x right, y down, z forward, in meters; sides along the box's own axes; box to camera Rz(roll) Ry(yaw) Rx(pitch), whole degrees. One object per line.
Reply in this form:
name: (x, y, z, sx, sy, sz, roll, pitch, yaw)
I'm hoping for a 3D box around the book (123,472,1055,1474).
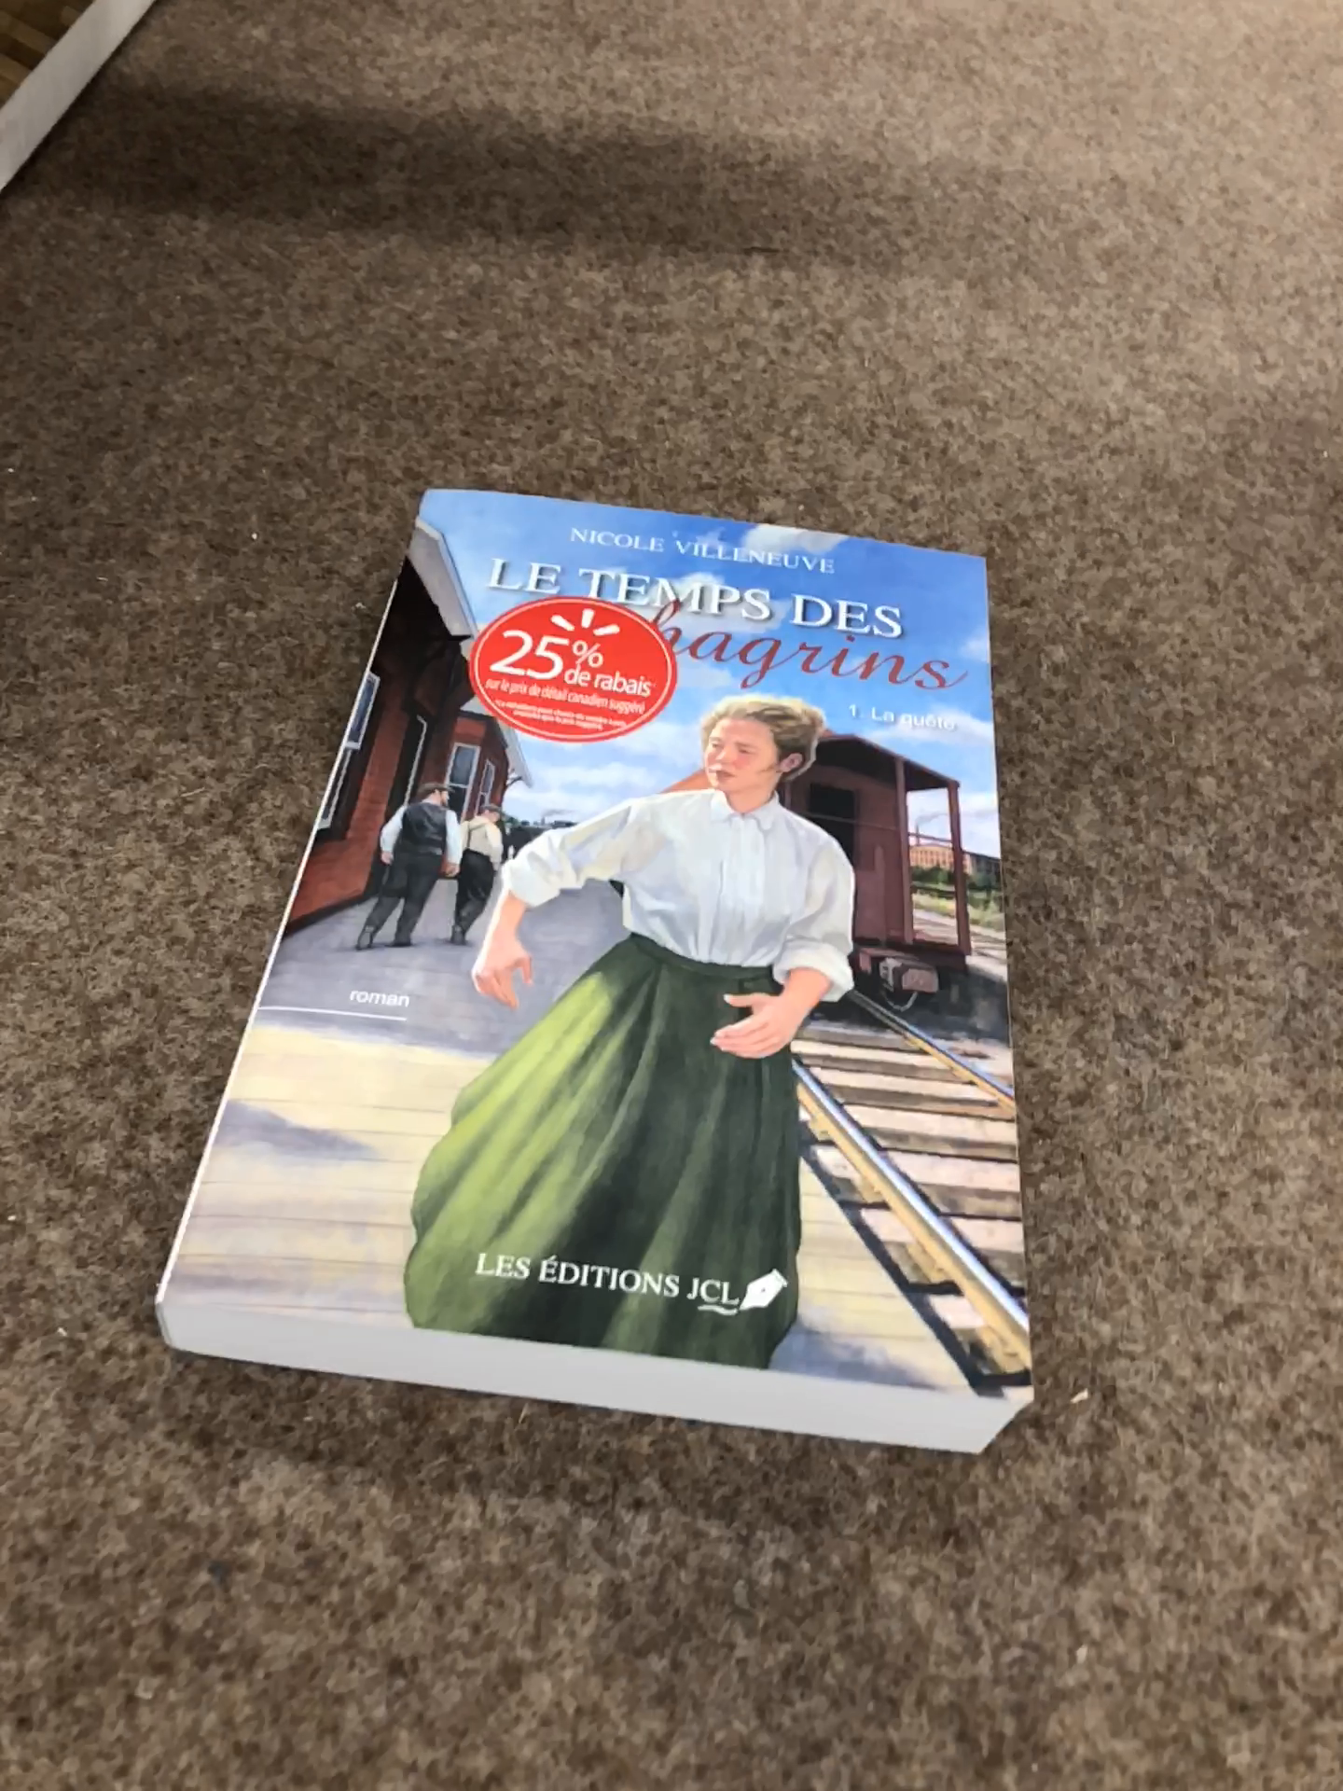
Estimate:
book: (-0.003, -0.003, 0.326, 0.155, 0.030, 0.225, 7, 52, 1)
